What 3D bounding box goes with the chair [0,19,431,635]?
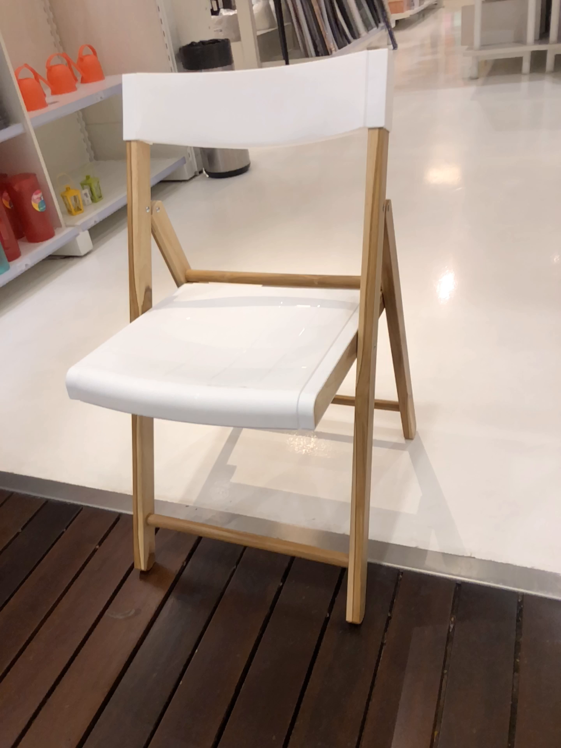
[{"bbox_3d":[-0.050,-0.079,0.990,0.471,0.734,0.514,6,39,23],"label":"chair"}]
